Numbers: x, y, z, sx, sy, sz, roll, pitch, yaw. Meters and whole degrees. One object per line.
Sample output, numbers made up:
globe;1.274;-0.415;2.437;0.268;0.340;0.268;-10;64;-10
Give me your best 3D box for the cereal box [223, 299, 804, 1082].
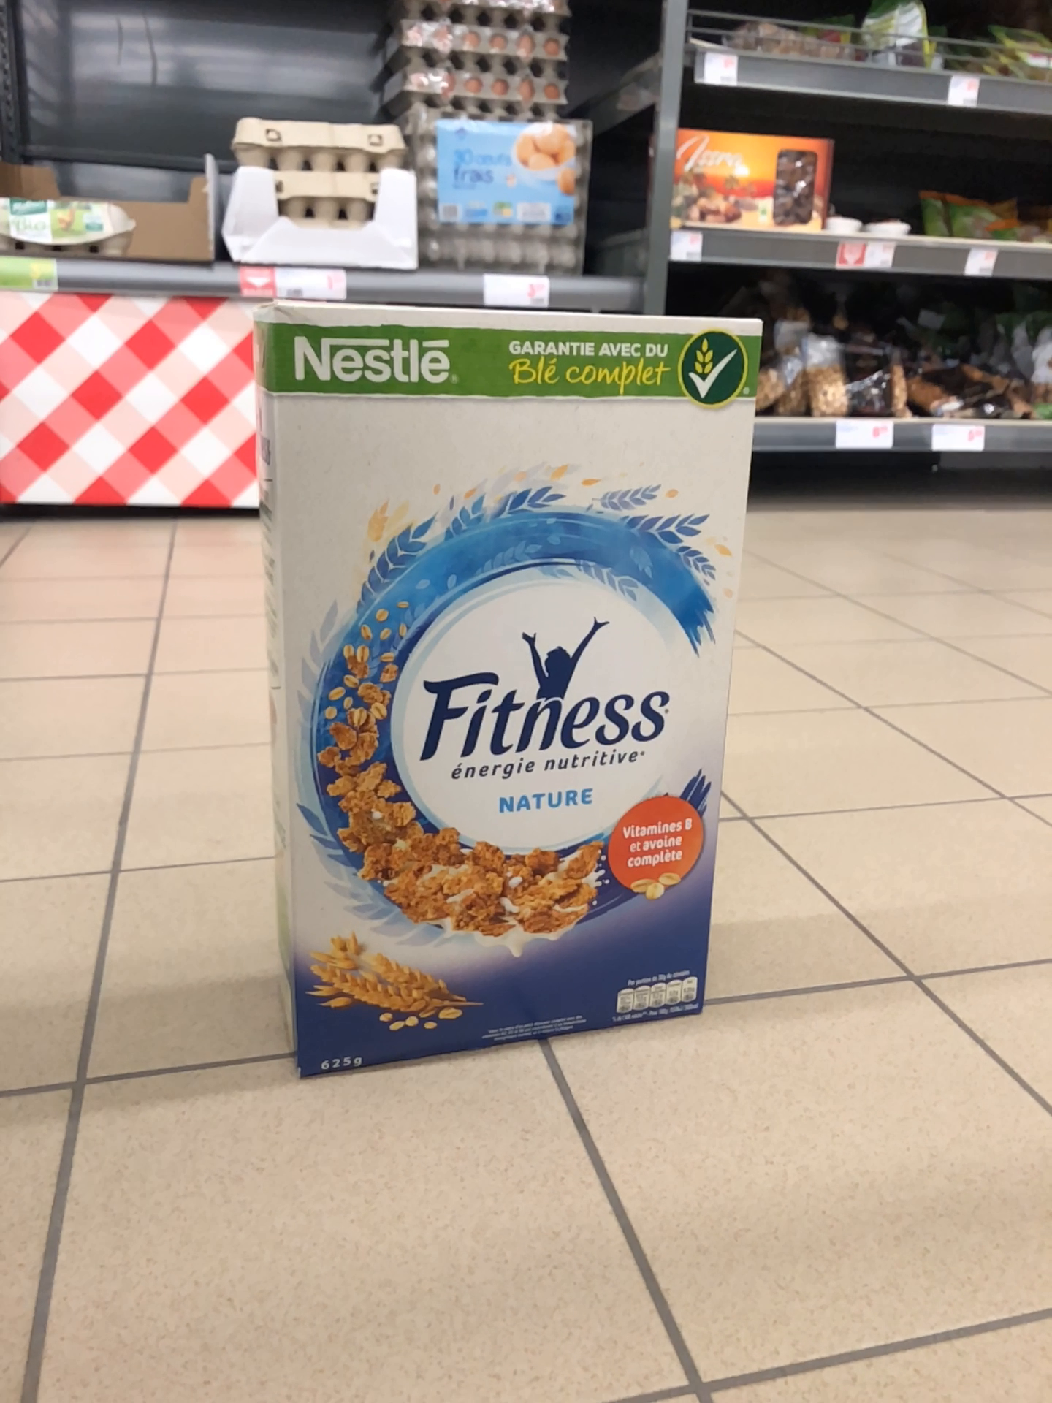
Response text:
cereal box;-0.012;-0.009;0.496;0.210;0.299;0.090;-4;18;-17
